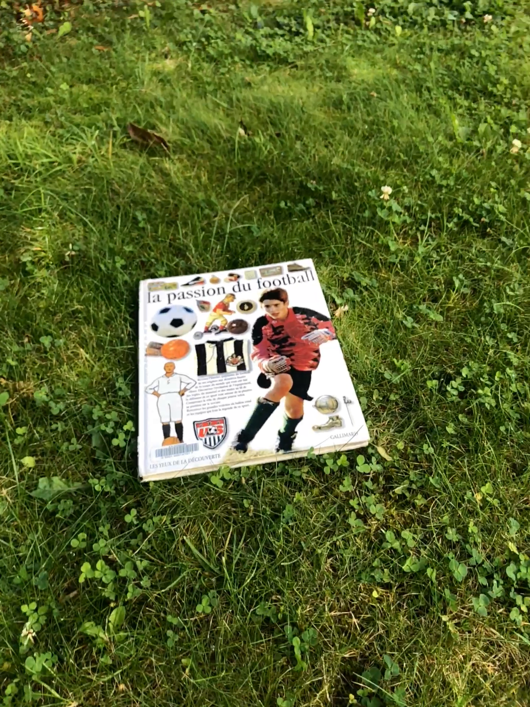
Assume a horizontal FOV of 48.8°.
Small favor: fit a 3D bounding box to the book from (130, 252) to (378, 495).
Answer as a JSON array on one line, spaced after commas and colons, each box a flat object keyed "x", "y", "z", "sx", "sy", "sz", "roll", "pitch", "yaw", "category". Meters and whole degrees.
[{"x": -0.030, "y": 0.000, "z": 0.646, "sx": 0.230, "sy": 0.020, "sz": 0.302, "roll": -8, "pitch": 47, "yaw": -3, "category": "book"}]
